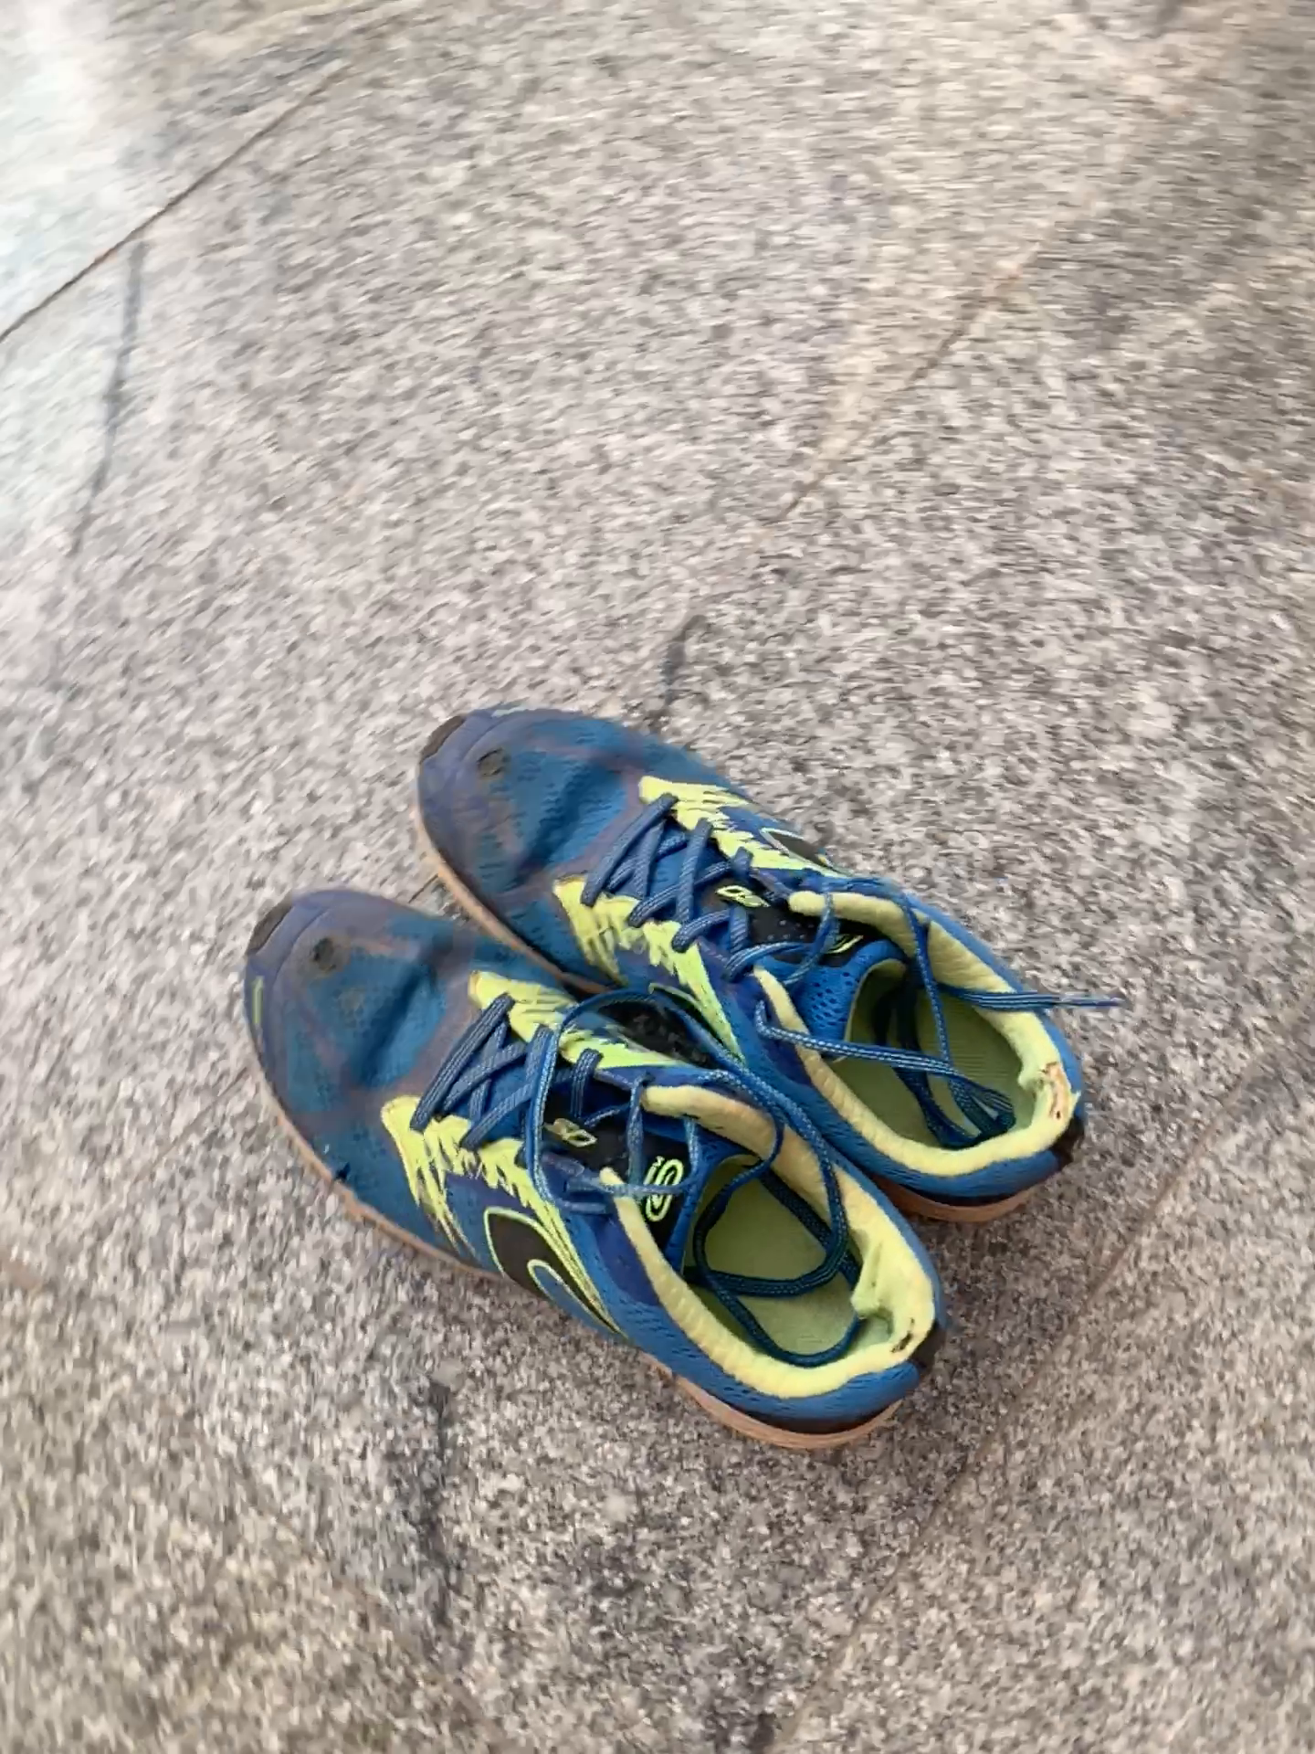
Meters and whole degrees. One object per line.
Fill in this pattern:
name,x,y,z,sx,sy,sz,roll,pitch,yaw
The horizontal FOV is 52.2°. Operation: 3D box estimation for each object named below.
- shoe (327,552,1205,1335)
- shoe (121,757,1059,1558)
shoe,0.034,0.022,0.477,0.290,0.060,0.110,38,72,5
shoe,-0.022,0.090,0.444,0.290,0.060,0.100,35,62,4
